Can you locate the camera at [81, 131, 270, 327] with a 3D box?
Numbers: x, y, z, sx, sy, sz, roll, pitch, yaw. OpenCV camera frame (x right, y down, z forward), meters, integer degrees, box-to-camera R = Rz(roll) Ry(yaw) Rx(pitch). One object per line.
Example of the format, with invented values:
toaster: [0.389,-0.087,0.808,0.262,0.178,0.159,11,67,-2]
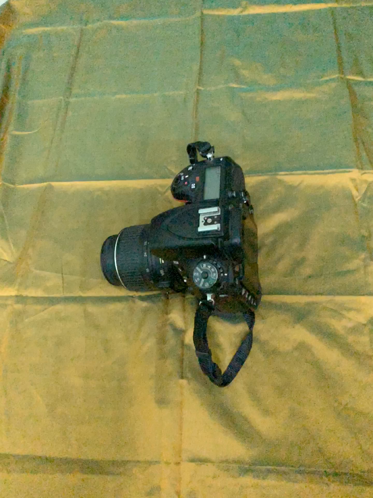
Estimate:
camera: [0.000,-0.008,0.372,0.132,0.120,0.135,-7,63,22]
